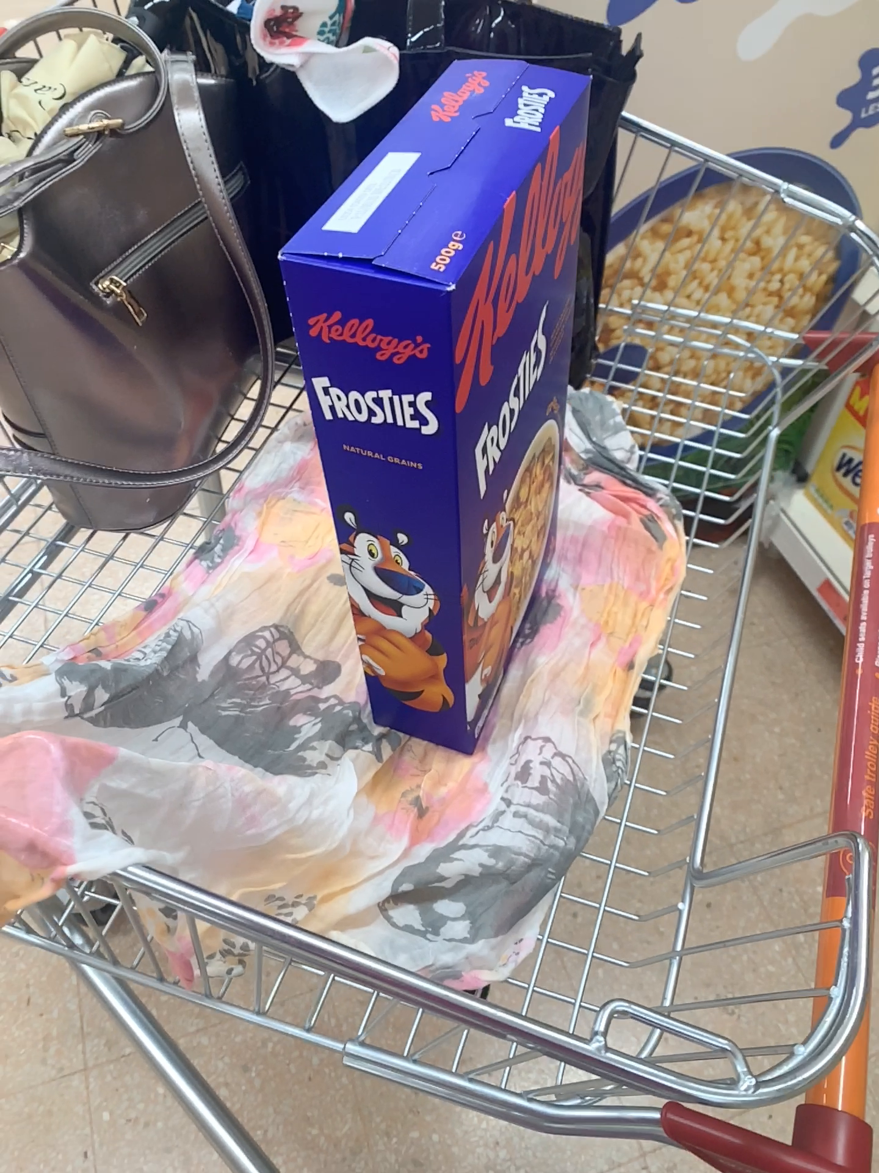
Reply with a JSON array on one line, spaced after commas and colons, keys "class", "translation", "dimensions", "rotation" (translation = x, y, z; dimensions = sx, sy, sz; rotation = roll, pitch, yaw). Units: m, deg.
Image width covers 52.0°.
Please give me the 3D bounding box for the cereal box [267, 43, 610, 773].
[{"class": "cereal box", "translation": [0.020, -0.082, 0.510], "dimensions": [0.080, 0.337, 0.212], "rotation": [13, 50, 16]}]
